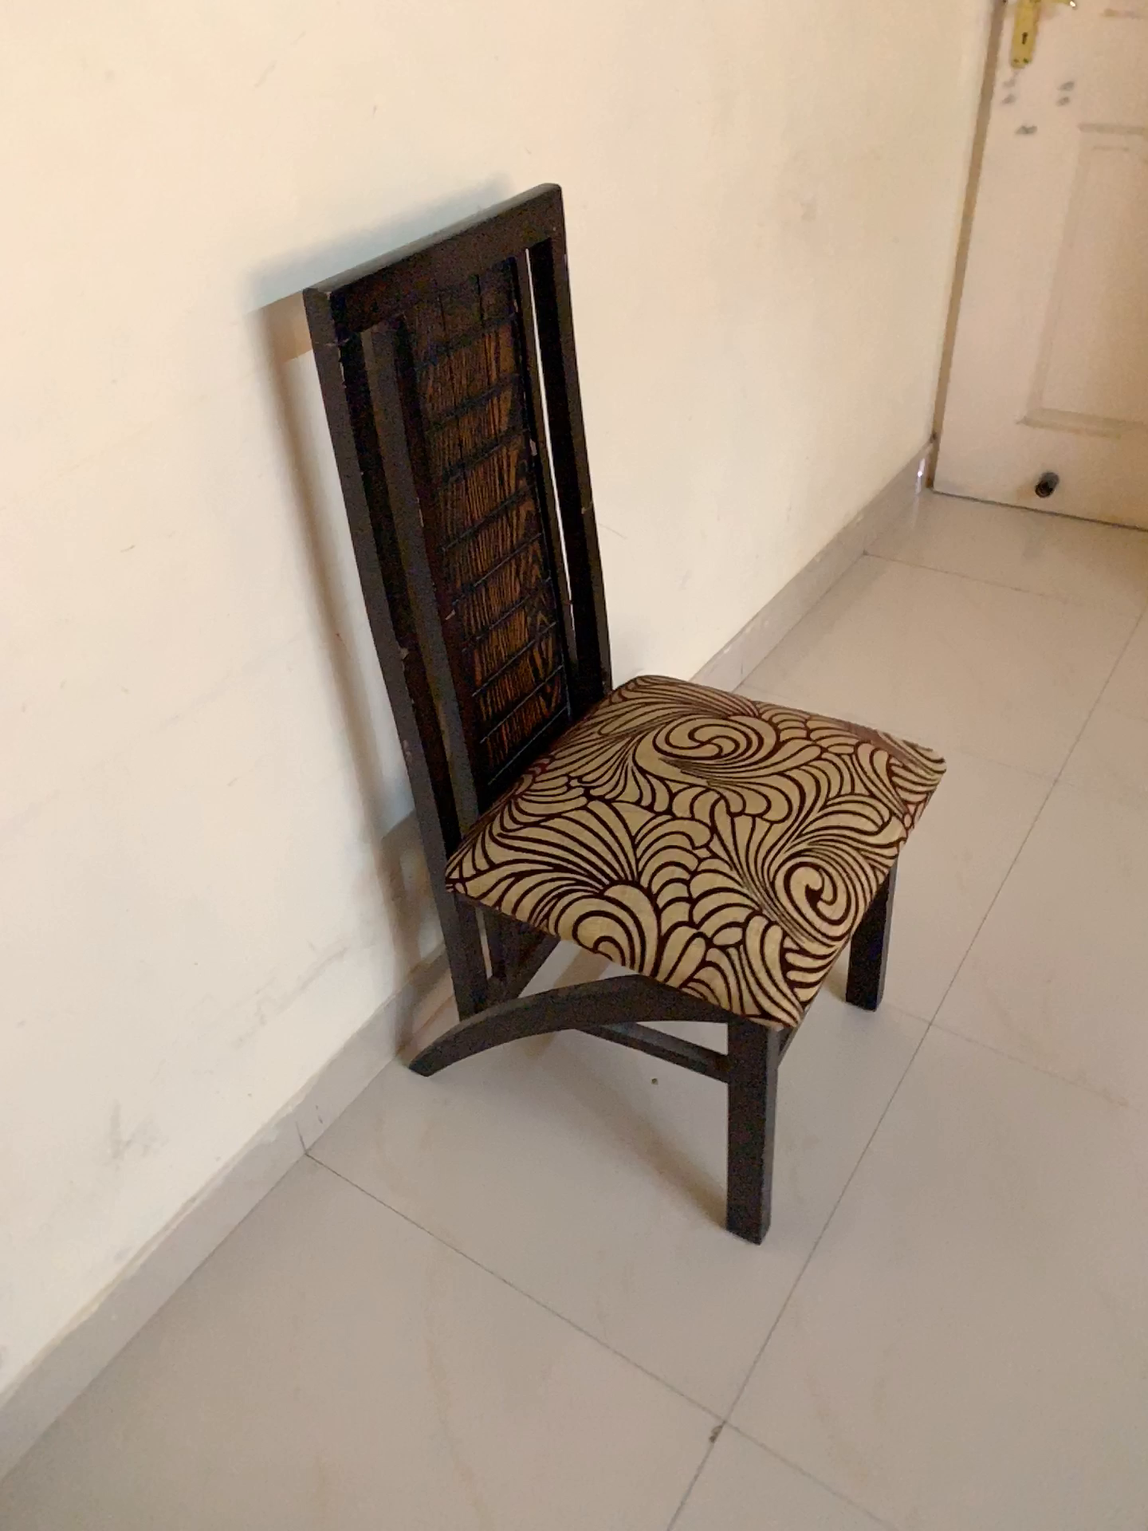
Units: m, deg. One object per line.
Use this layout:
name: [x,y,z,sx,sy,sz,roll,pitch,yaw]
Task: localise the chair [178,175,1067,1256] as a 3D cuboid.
chair: [0.085,-0.066,1.278,0.581,0.922,0.533,17,42,25]
